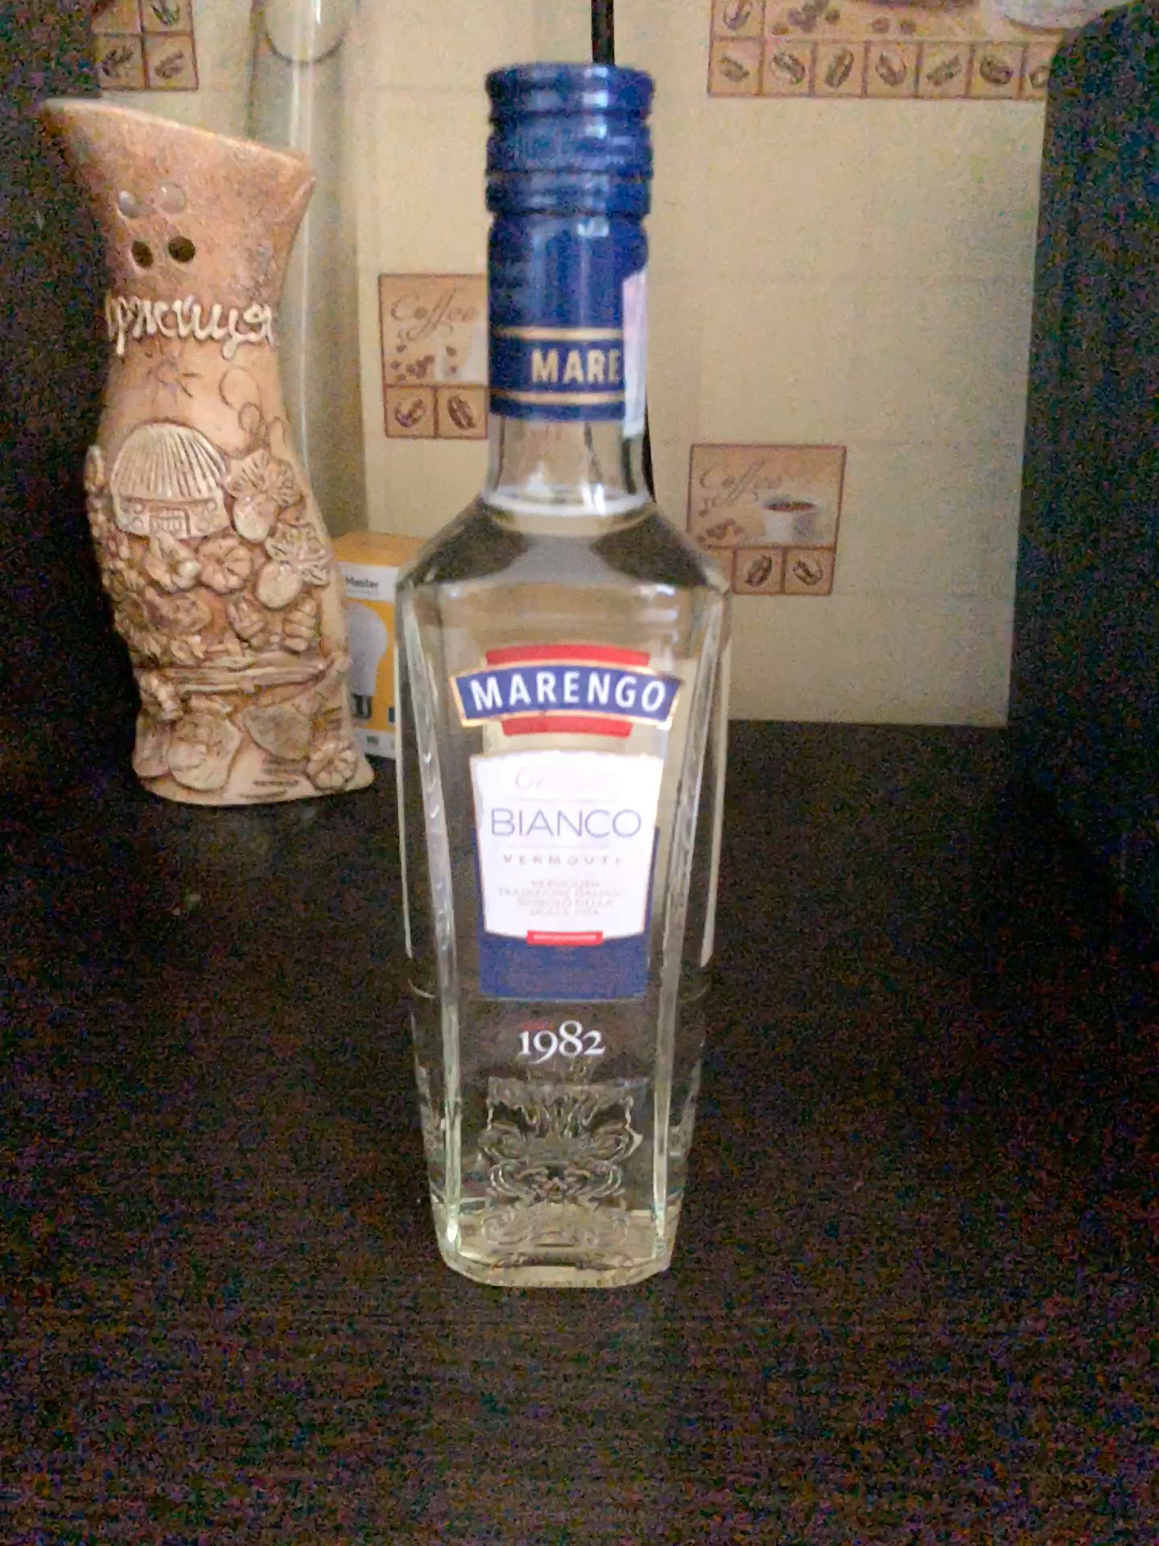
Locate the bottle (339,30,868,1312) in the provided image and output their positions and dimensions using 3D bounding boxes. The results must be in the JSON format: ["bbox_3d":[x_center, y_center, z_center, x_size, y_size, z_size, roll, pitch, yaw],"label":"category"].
[{"bbox_3d":[0.002,-0.002,0.282,0.090,0.289,0.050,2,23,1],"label":"bottle"}]
